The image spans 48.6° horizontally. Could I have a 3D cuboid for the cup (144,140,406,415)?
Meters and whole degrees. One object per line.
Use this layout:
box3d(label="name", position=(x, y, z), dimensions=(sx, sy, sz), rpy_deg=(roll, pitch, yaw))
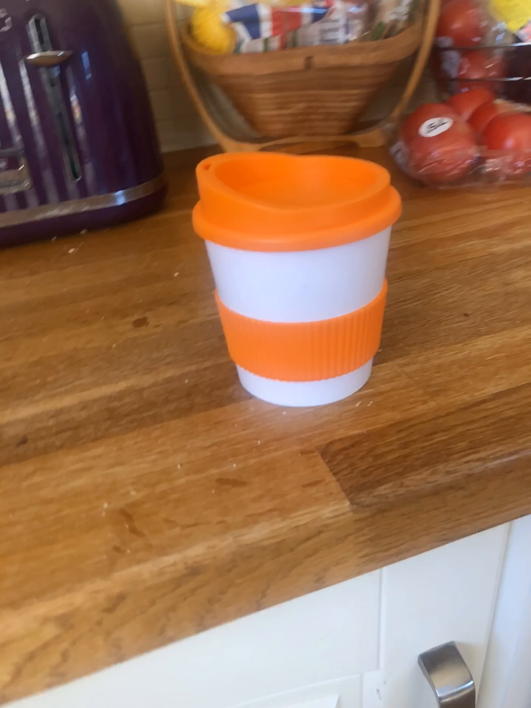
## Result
box3d(label="cup", position=(0.009, -0.035, 0.255), dimensions=(0.089, 0.089, 0.081), rpy_deg=(-4, 31, 2))
